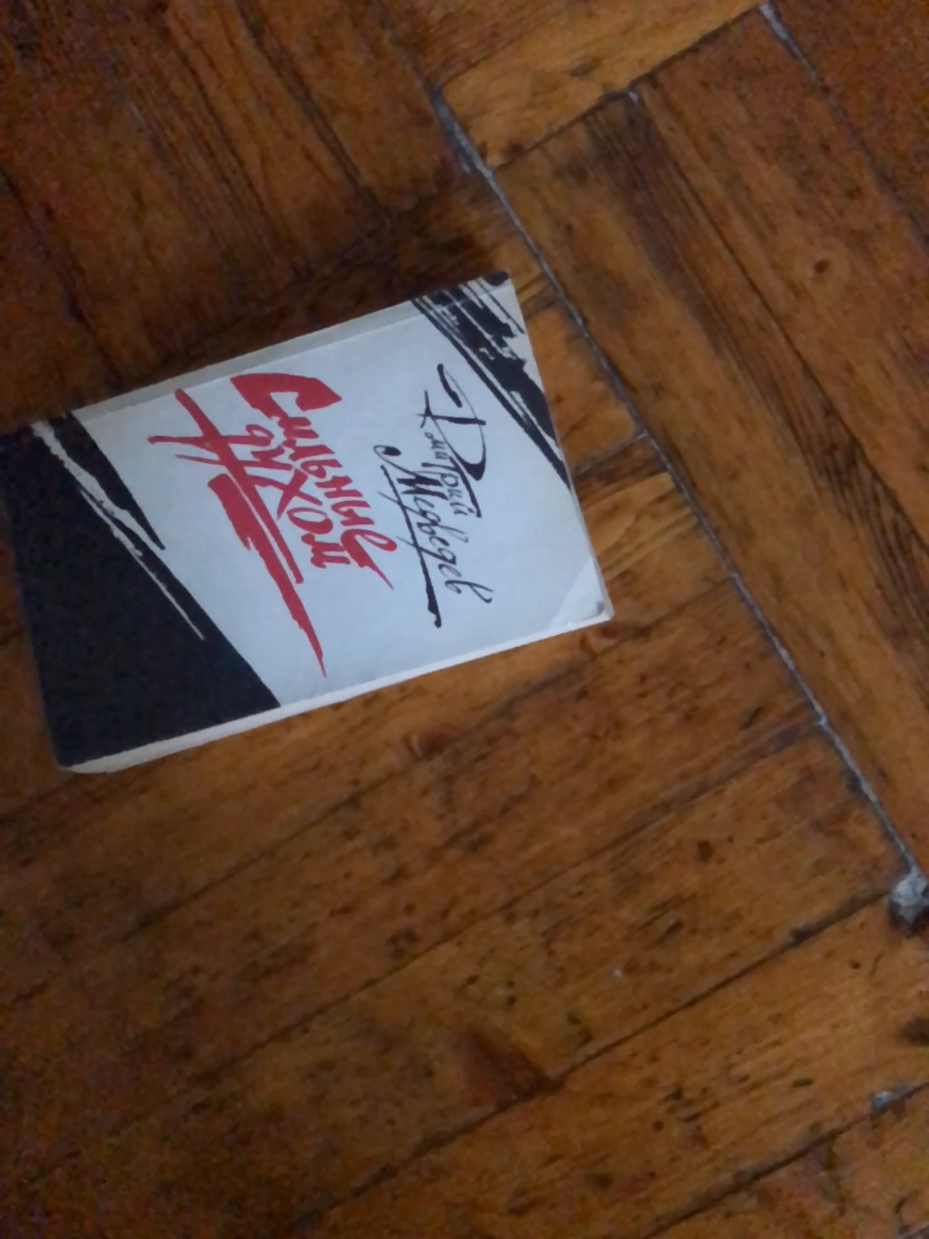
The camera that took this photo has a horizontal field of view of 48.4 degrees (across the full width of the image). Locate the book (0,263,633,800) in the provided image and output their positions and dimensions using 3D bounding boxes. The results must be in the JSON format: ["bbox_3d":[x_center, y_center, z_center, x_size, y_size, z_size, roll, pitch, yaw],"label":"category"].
[{"bbox_3d":[-0.059,-0.030,0.404,0.210,0.050,0.140,-18,84,4],"label":"book"}]
